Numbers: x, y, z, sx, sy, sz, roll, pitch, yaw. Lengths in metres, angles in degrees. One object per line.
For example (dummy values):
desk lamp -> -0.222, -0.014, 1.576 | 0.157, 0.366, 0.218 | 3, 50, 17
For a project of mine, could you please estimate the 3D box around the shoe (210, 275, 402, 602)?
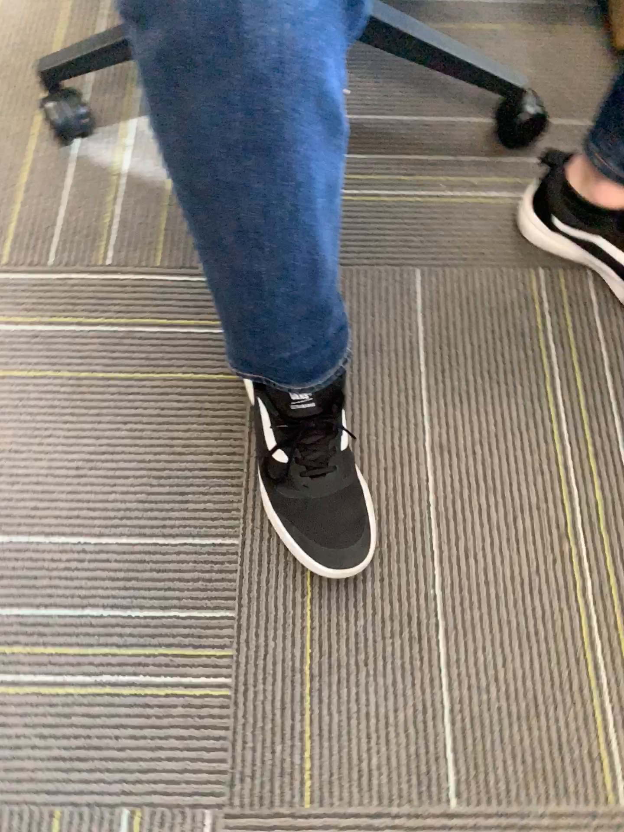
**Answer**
shoe -> -0.015, 0.022, 0.708 | 0.120, 0.120, 0.321 | -13, 68, -6

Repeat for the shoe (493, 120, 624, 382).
shoe -> 0.402, -0.202, 0.783 | 0.320, 0.110, 0.120 | 39, 72, 14
